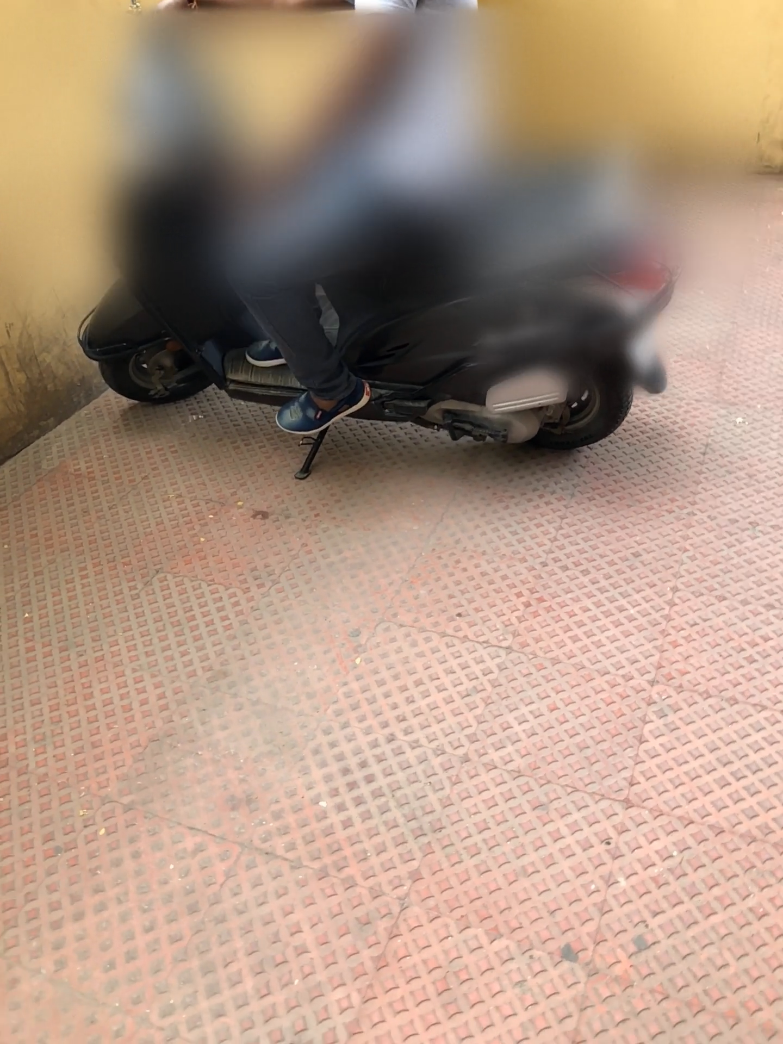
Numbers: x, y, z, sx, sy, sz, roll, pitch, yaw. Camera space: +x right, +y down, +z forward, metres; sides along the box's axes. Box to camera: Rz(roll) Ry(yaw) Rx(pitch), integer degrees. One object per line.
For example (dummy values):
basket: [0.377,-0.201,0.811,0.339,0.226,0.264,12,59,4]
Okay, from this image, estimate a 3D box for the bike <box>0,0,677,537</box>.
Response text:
bike: [-0.183,-0.635,2.137,1.544,1.016,0.697,5,37,17]
